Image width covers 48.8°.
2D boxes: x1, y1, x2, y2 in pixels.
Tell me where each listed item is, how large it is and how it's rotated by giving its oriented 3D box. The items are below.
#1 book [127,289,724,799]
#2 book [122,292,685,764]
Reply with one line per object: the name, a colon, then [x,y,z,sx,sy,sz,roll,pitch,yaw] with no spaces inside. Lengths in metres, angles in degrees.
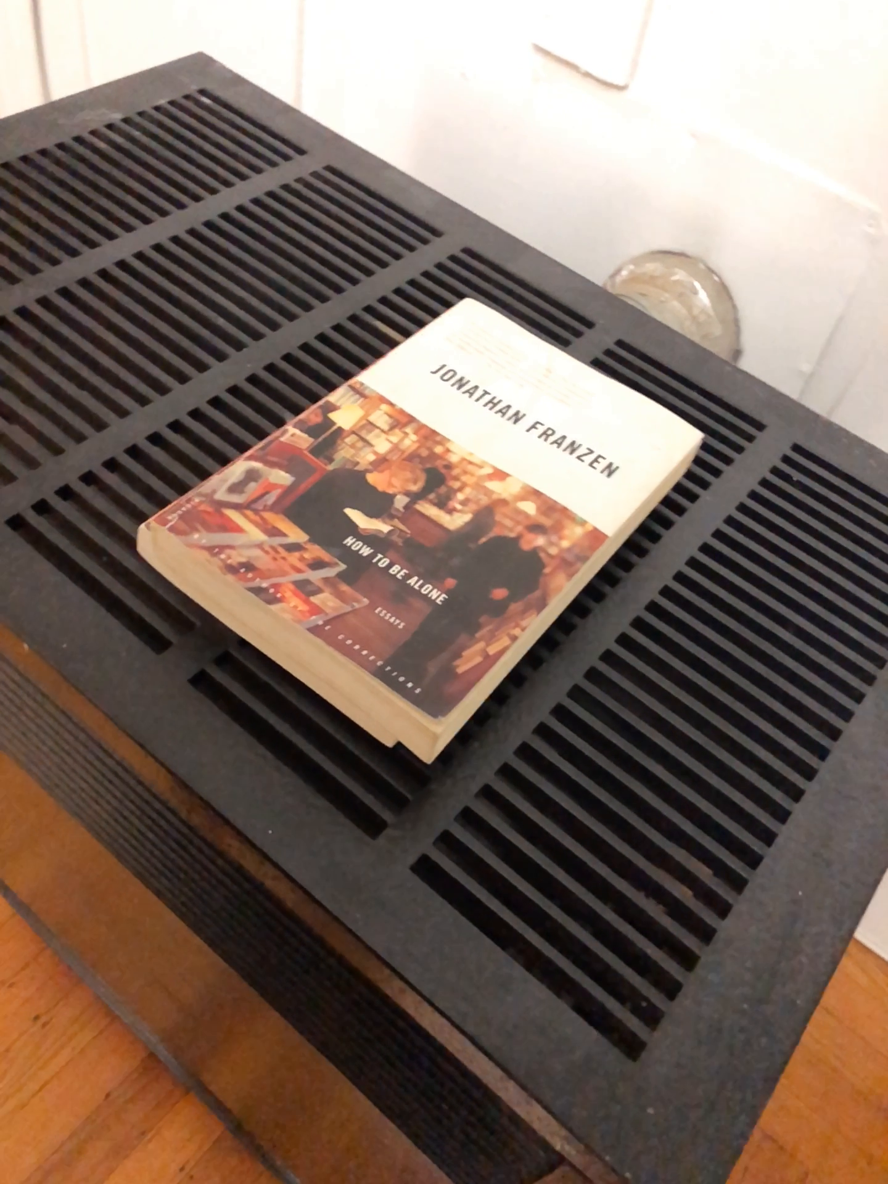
book: [0.003,-0.038,0.410,0.150,0.030,0.211,33,53,15]
book: [-0.008,-0.046,0.437,0.150,0.030,0.211,33,53,15]
